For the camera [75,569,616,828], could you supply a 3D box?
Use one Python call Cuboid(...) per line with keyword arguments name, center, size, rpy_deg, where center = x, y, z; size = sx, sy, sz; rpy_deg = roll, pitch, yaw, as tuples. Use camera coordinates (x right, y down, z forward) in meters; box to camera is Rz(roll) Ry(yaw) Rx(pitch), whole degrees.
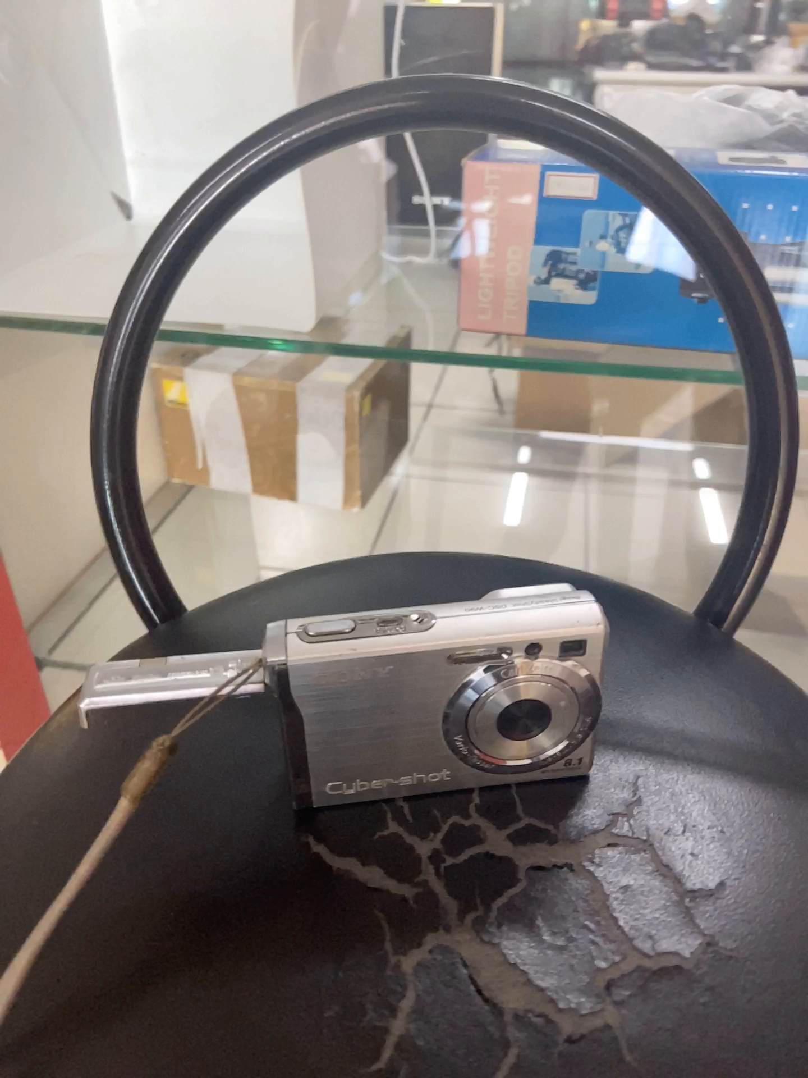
Cuboid(name="camera", center=(-0.014, 0.044, 0.237), size=(0.136, 0.053, 0.030), rpy_deg=(-4, 32, -6))
